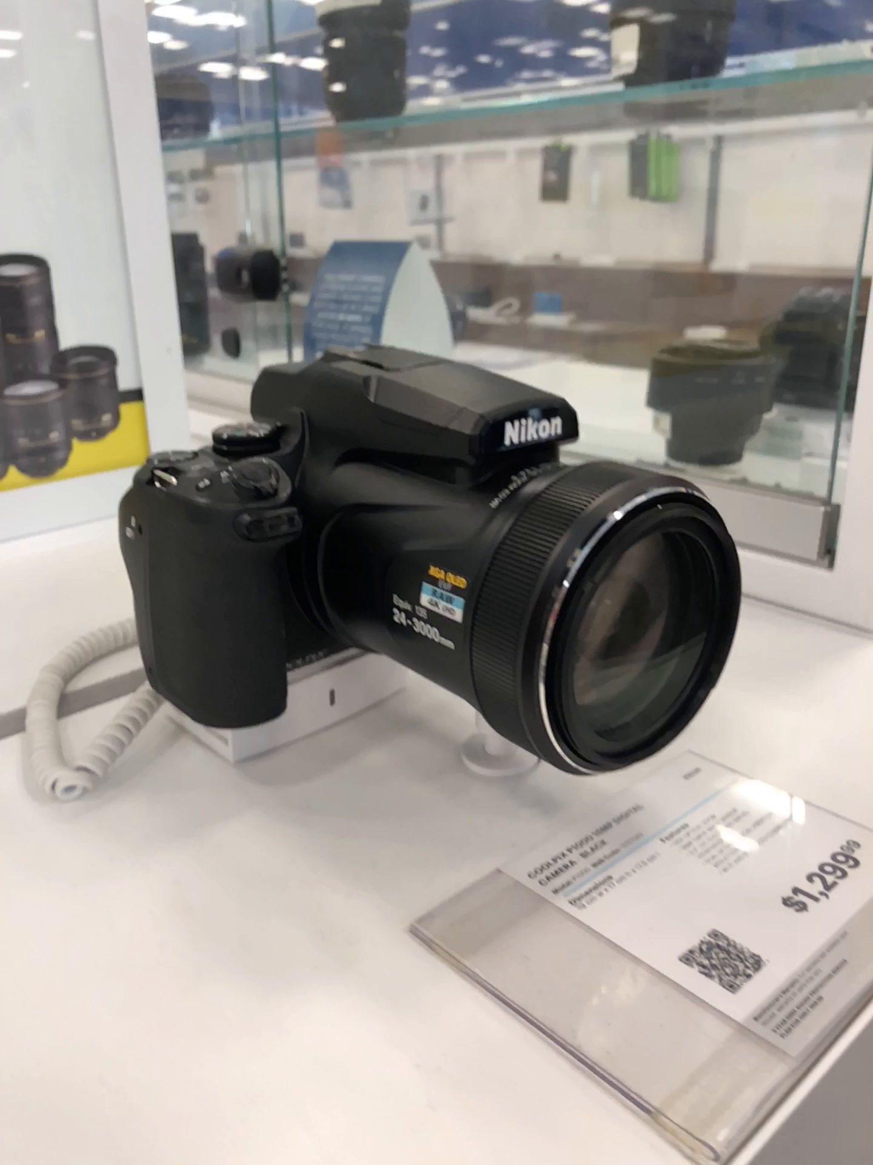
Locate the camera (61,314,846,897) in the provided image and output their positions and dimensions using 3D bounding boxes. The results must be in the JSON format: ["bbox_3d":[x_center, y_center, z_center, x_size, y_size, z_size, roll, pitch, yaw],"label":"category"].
[{"bbox_3d":[0.000,-0.022,0.326,0.160,0.110,0.190,-19,26,-39],"label":"camera"}]
